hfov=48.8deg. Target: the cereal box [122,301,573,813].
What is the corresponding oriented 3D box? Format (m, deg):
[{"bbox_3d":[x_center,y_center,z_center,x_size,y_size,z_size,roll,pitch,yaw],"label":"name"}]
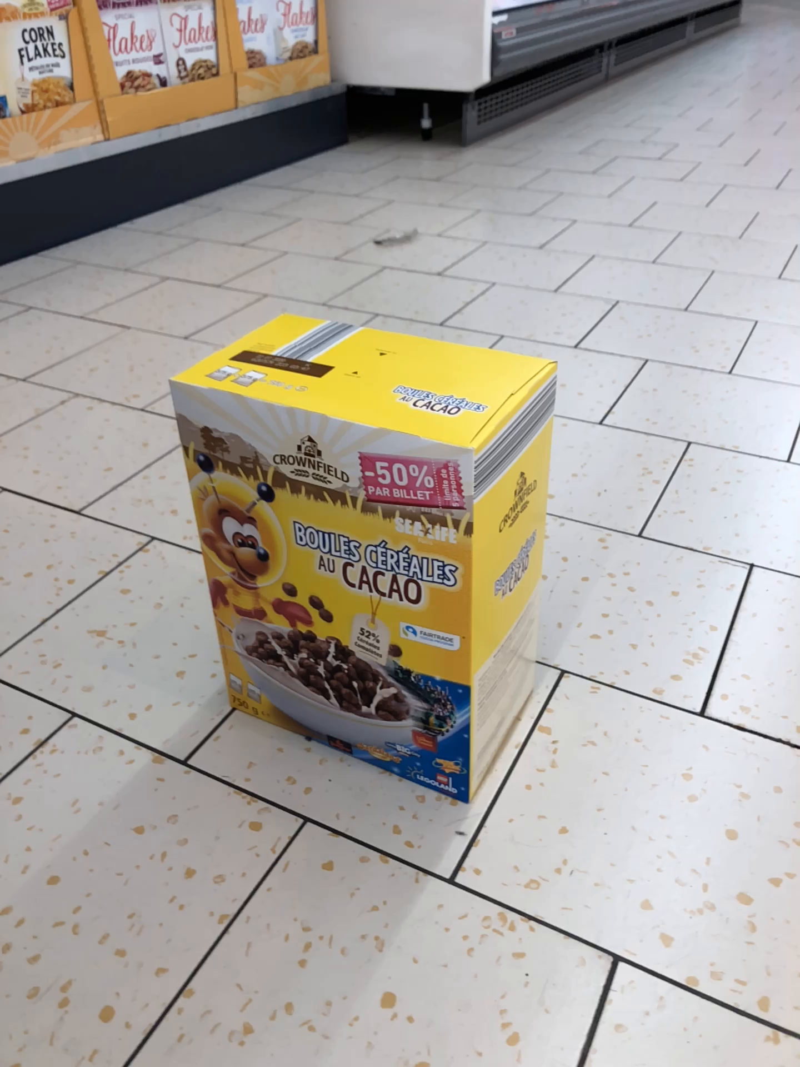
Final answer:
[{"bbox_3d":[-0.025,0.007,0.548,0.210,0.239,0.131,16,37,25],"label":"cereal box"}]
